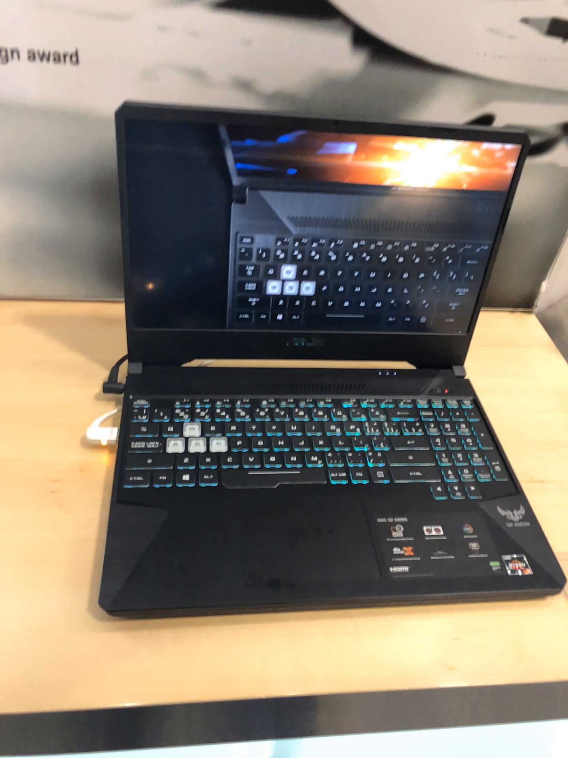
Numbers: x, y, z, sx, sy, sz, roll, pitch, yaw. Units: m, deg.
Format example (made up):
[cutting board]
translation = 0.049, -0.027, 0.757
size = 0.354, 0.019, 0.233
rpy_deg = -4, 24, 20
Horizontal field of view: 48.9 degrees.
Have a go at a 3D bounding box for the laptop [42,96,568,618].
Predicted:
[laptop]
translation = 0.041, -0.031, 0.495
size = 0.358, 0.245, 0.310
rpy_deg = 0, 42, -9
